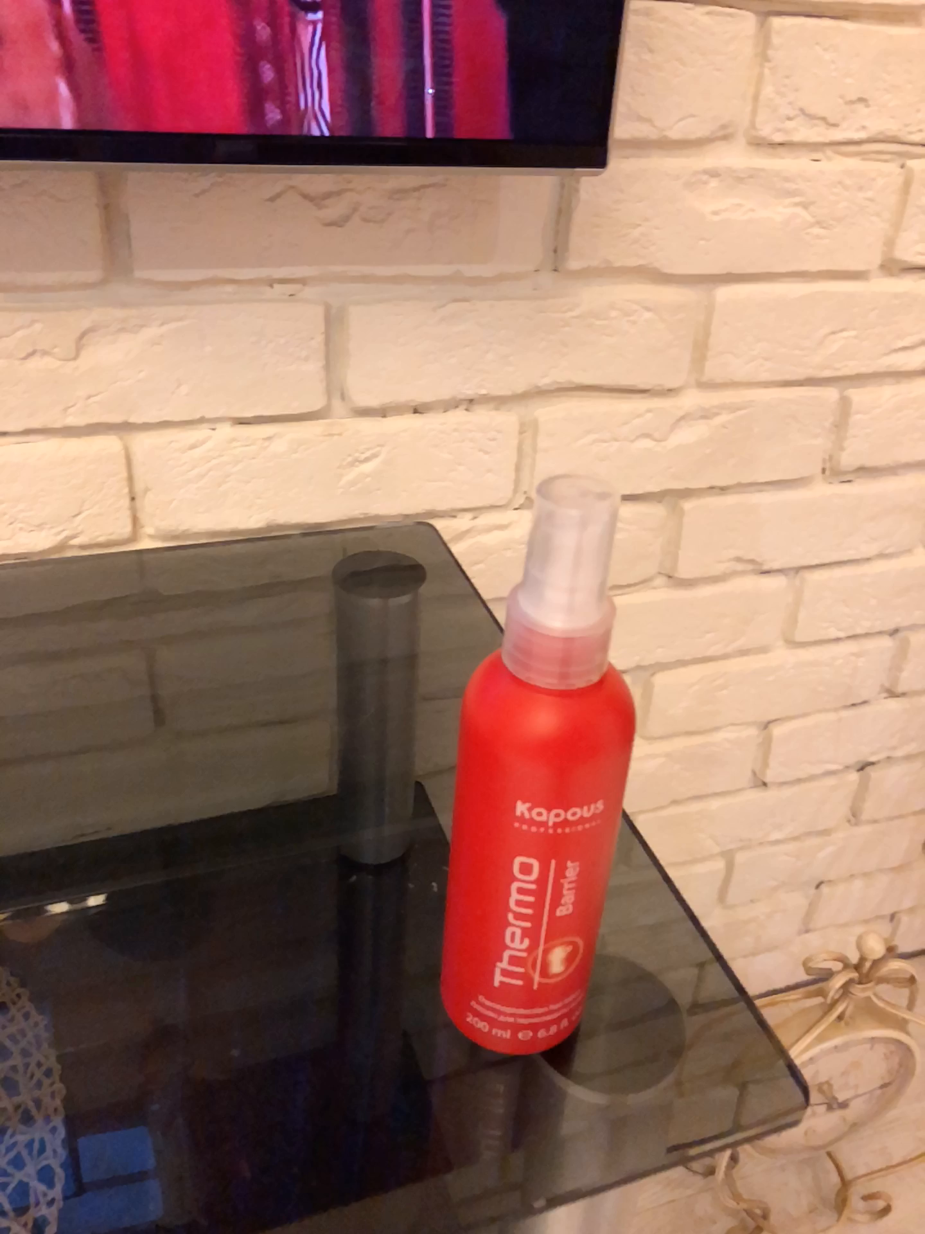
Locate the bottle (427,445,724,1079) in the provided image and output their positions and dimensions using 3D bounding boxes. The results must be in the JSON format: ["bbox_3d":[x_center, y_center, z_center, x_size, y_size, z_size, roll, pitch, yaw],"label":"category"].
[{"bbox_3d":[0.023,0.047,0.286,0.048,0.179,0.052,3,31,-2],"label":"bottle"}]
